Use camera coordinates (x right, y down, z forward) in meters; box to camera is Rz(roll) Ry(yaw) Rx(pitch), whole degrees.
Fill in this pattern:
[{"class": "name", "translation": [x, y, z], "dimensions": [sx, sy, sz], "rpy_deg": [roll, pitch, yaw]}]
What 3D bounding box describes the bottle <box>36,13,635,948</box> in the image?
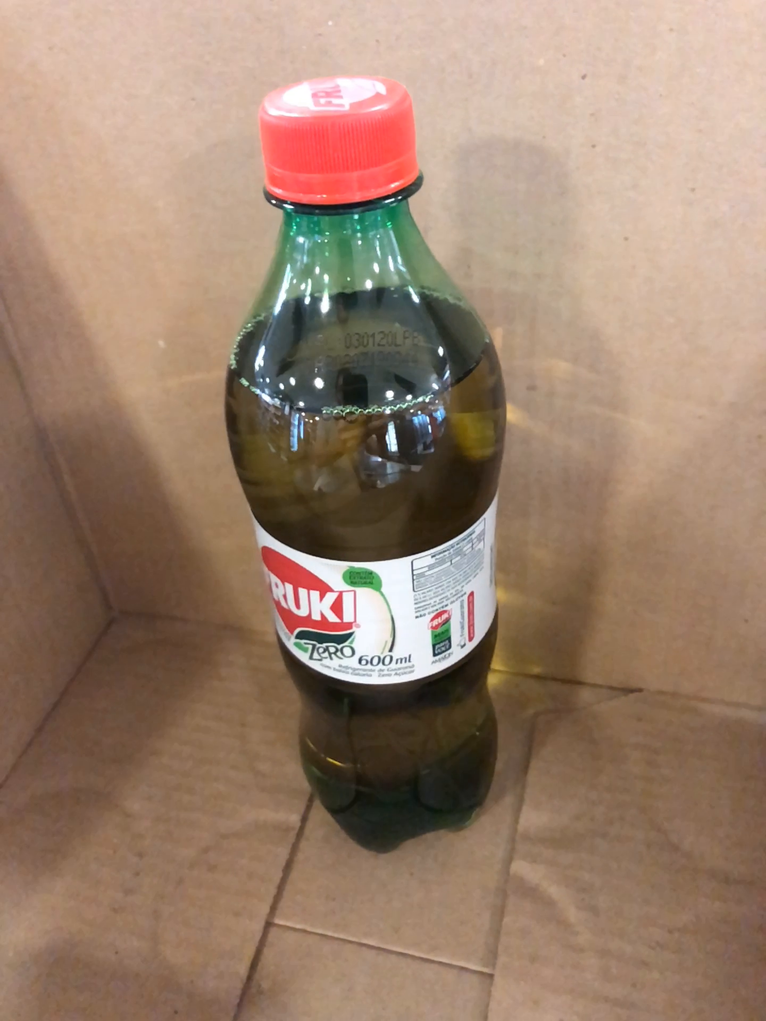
[{"class": "bottle", "translation": [0.002, 0.010, 0.233], "dimensions": [0.080, 0.238, 0.080], "rpy_deg": [-3, 39, 2]}]
